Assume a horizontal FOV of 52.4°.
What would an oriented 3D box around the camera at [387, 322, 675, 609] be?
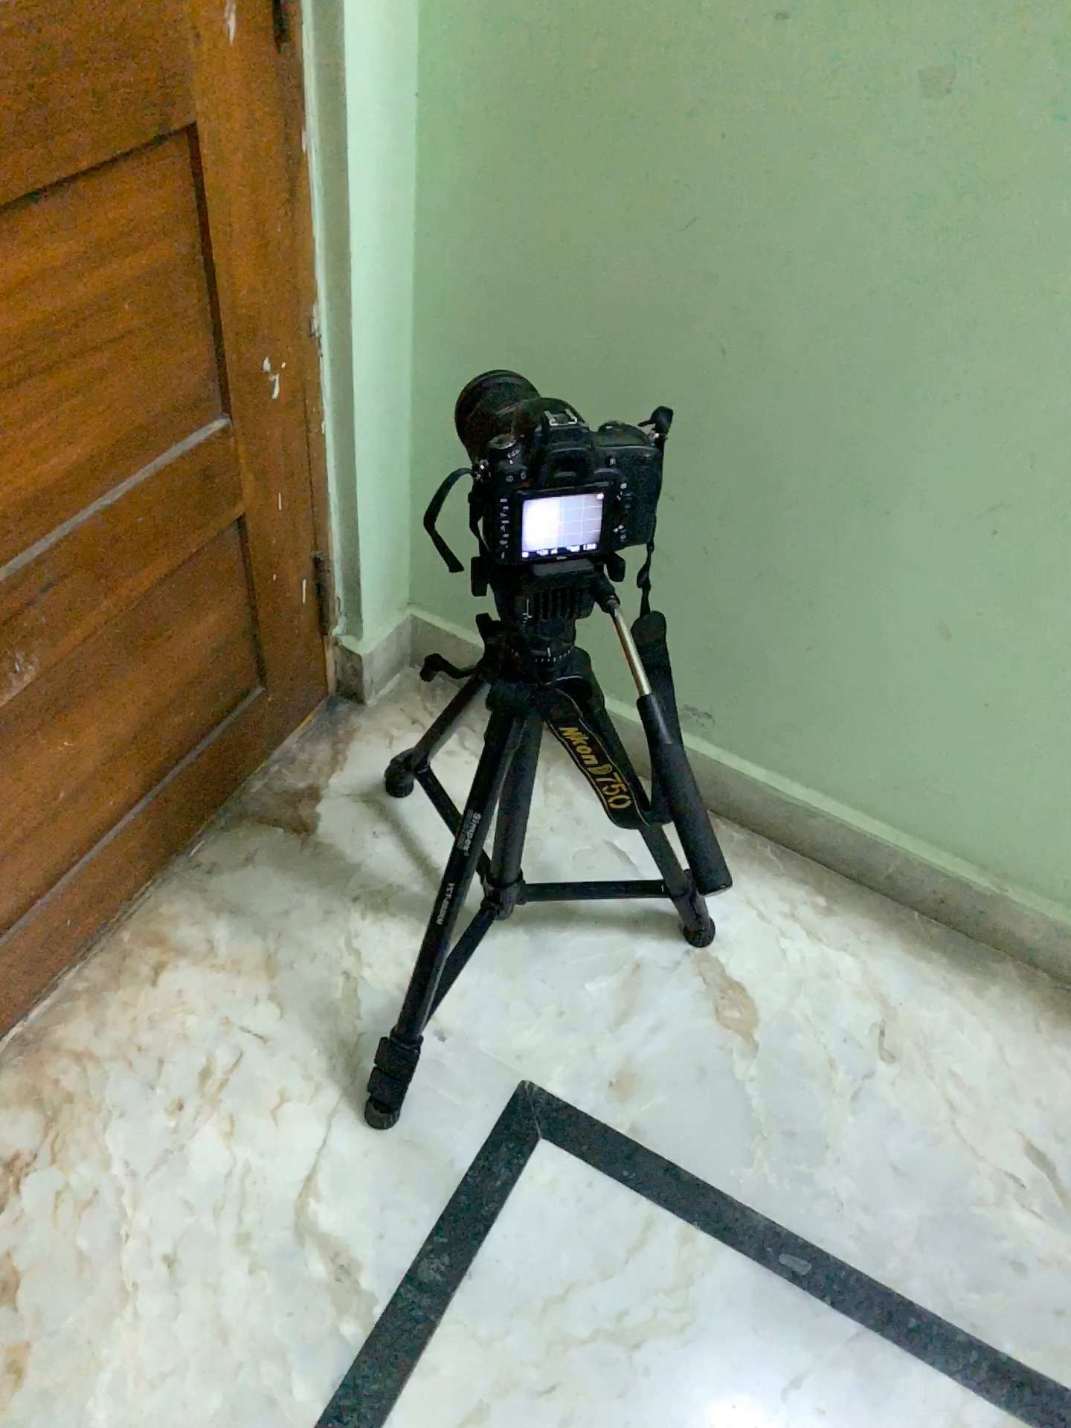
[{"bbox_3d":[-0.014,-0.210,0.899,0.175,0.128,0.190,-11,50,-16],"label":"camera"}]
